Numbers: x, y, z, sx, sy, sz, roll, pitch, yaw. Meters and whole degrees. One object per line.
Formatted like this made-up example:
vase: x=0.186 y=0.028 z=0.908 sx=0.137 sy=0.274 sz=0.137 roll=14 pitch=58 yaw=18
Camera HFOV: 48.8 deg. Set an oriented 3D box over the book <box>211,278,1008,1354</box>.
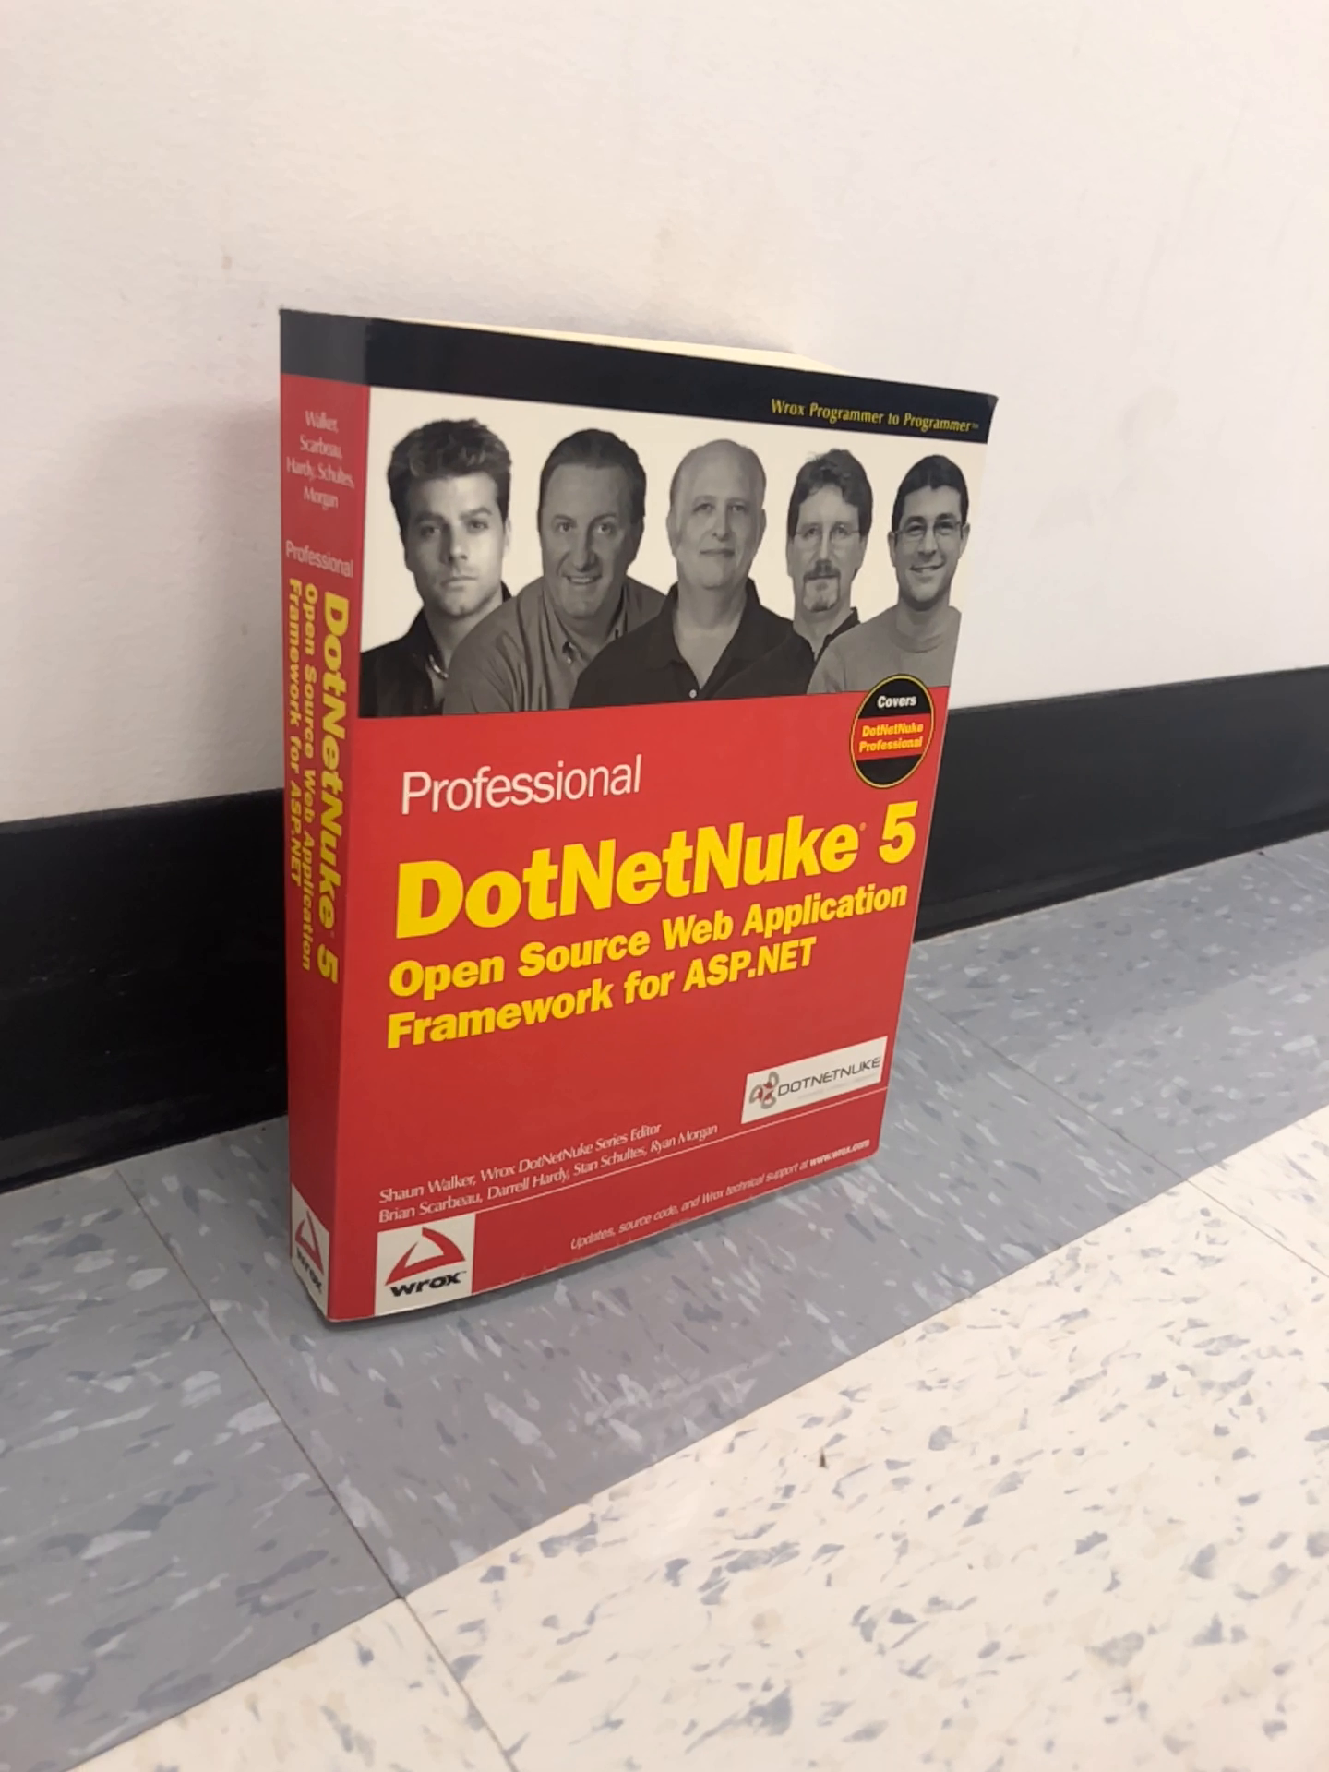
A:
book: x=-0.013 y=-0.024 z=0.414 sx=0.211 sy=0.249 sz=0.060 roll=-8 pitch=21 yaw=-37
